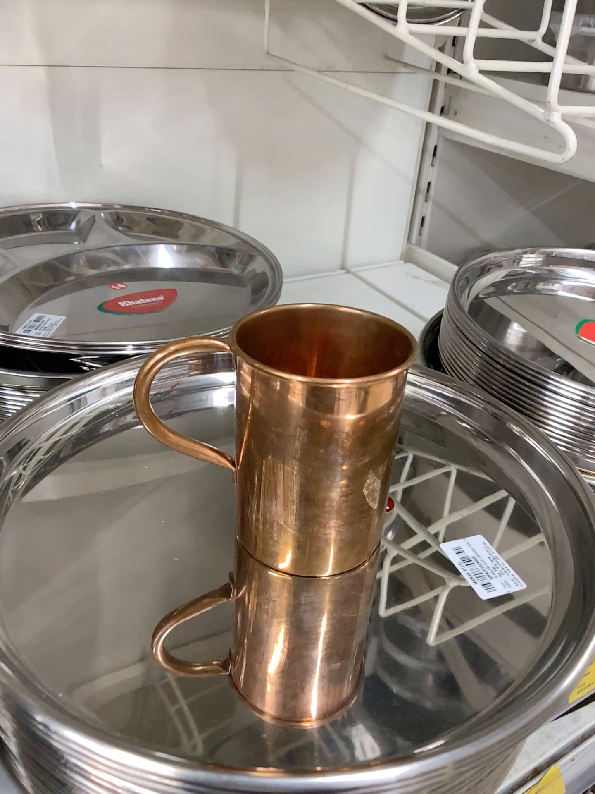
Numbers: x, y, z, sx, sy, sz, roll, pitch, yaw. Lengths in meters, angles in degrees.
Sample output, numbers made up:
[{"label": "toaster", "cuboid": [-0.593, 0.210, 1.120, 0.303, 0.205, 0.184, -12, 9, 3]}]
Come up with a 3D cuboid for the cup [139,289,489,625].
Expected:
[{"label": "cup", "cuboid": [-0.002, 0.024, 0.287, 0.130, 0.119, 0.080, -5, 34, -14]}]
